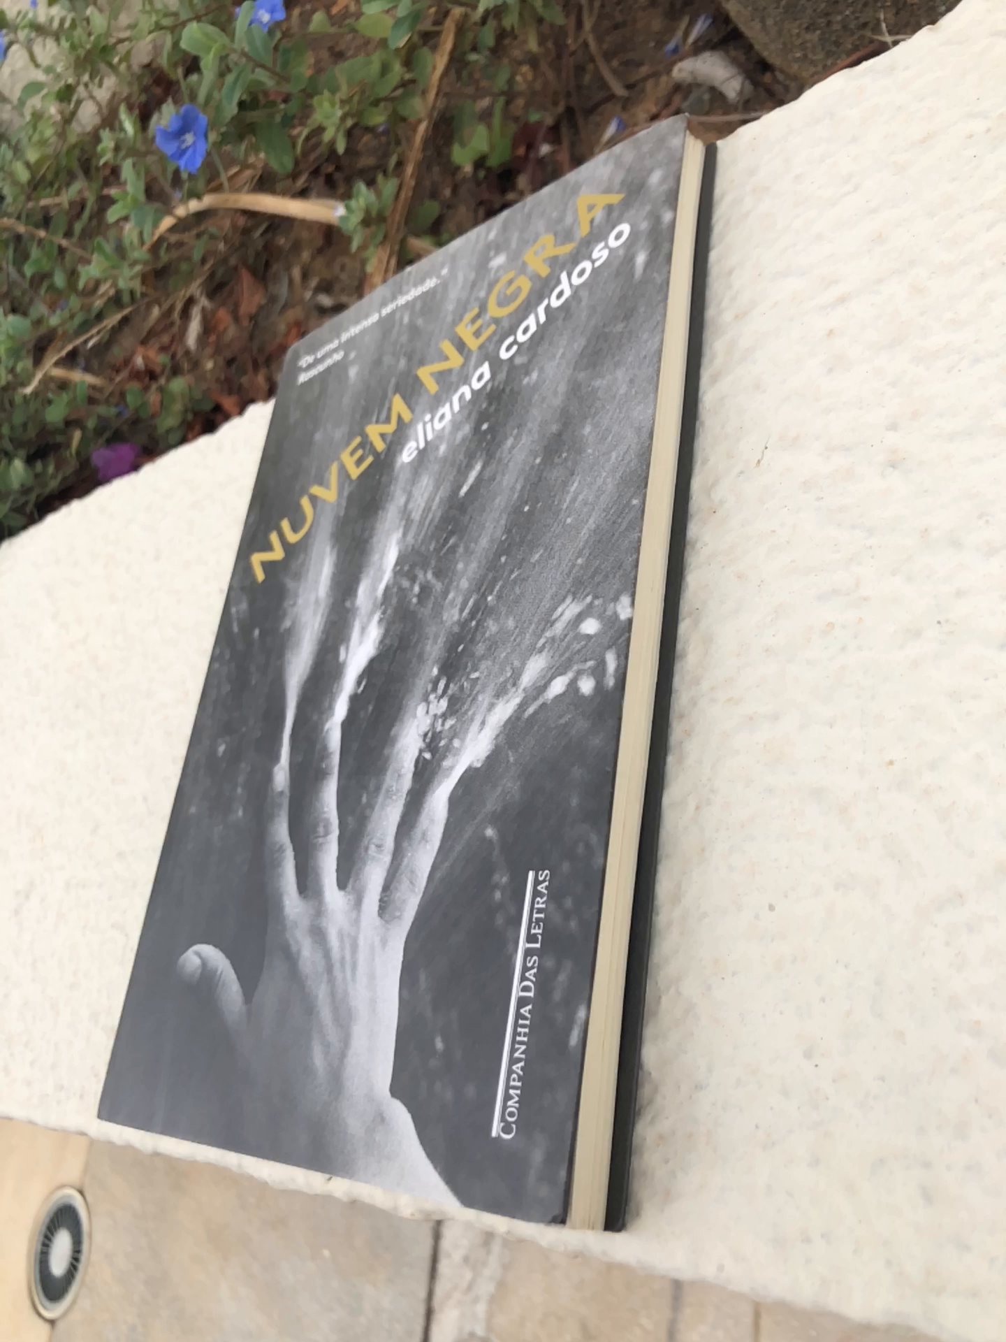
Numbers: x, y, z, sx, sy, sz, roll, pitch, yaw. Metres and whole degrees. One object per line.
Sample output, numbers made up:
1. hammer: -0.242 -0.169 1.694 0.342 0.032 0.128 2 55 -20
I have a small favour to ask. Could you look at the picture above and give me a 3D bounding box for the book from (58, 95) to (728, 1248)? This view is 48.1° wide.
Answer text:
1. book: -0.025 -0.006 0.233 0.141 0.013 0.200 -11 62 41
